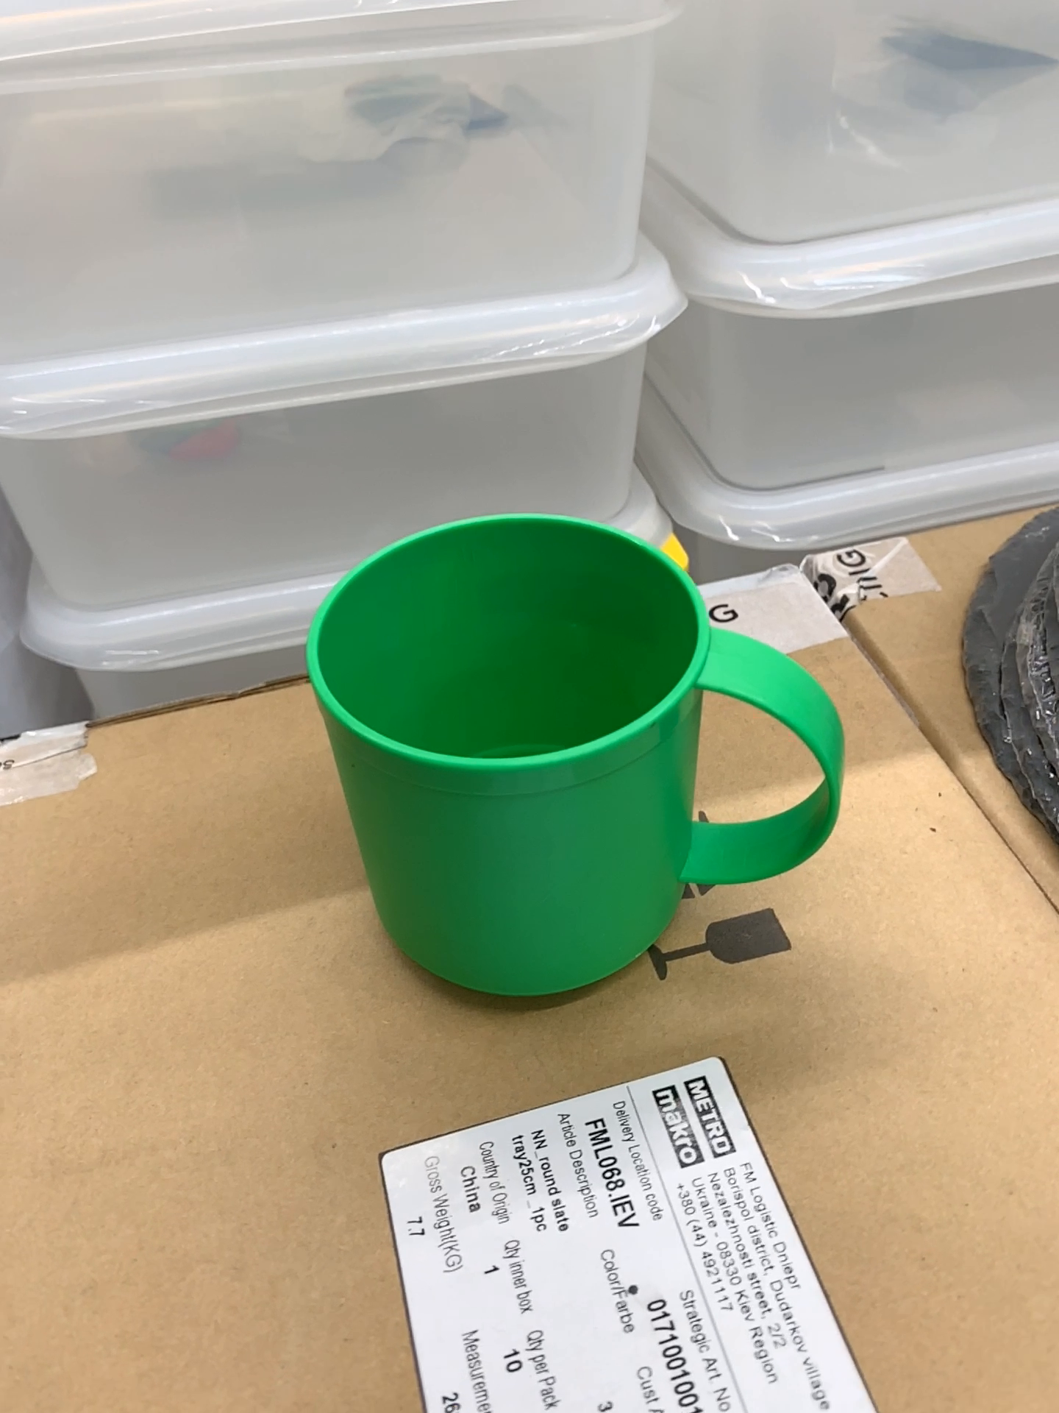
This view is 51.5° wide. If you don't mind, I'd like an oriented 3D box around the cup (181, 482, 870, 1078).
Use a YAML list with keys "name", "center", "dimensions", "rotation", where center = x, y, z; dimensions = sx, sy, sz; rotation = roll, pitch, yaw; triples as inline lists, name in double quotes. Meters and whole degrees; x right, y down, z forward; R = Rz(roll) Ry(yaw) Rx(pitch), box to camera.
- name: "cup"
  center: [0.006, 0.010, 0.216]
  dimensions: [0.105, 0.069, 0.076]
  rotation: [8, 43, 14]
